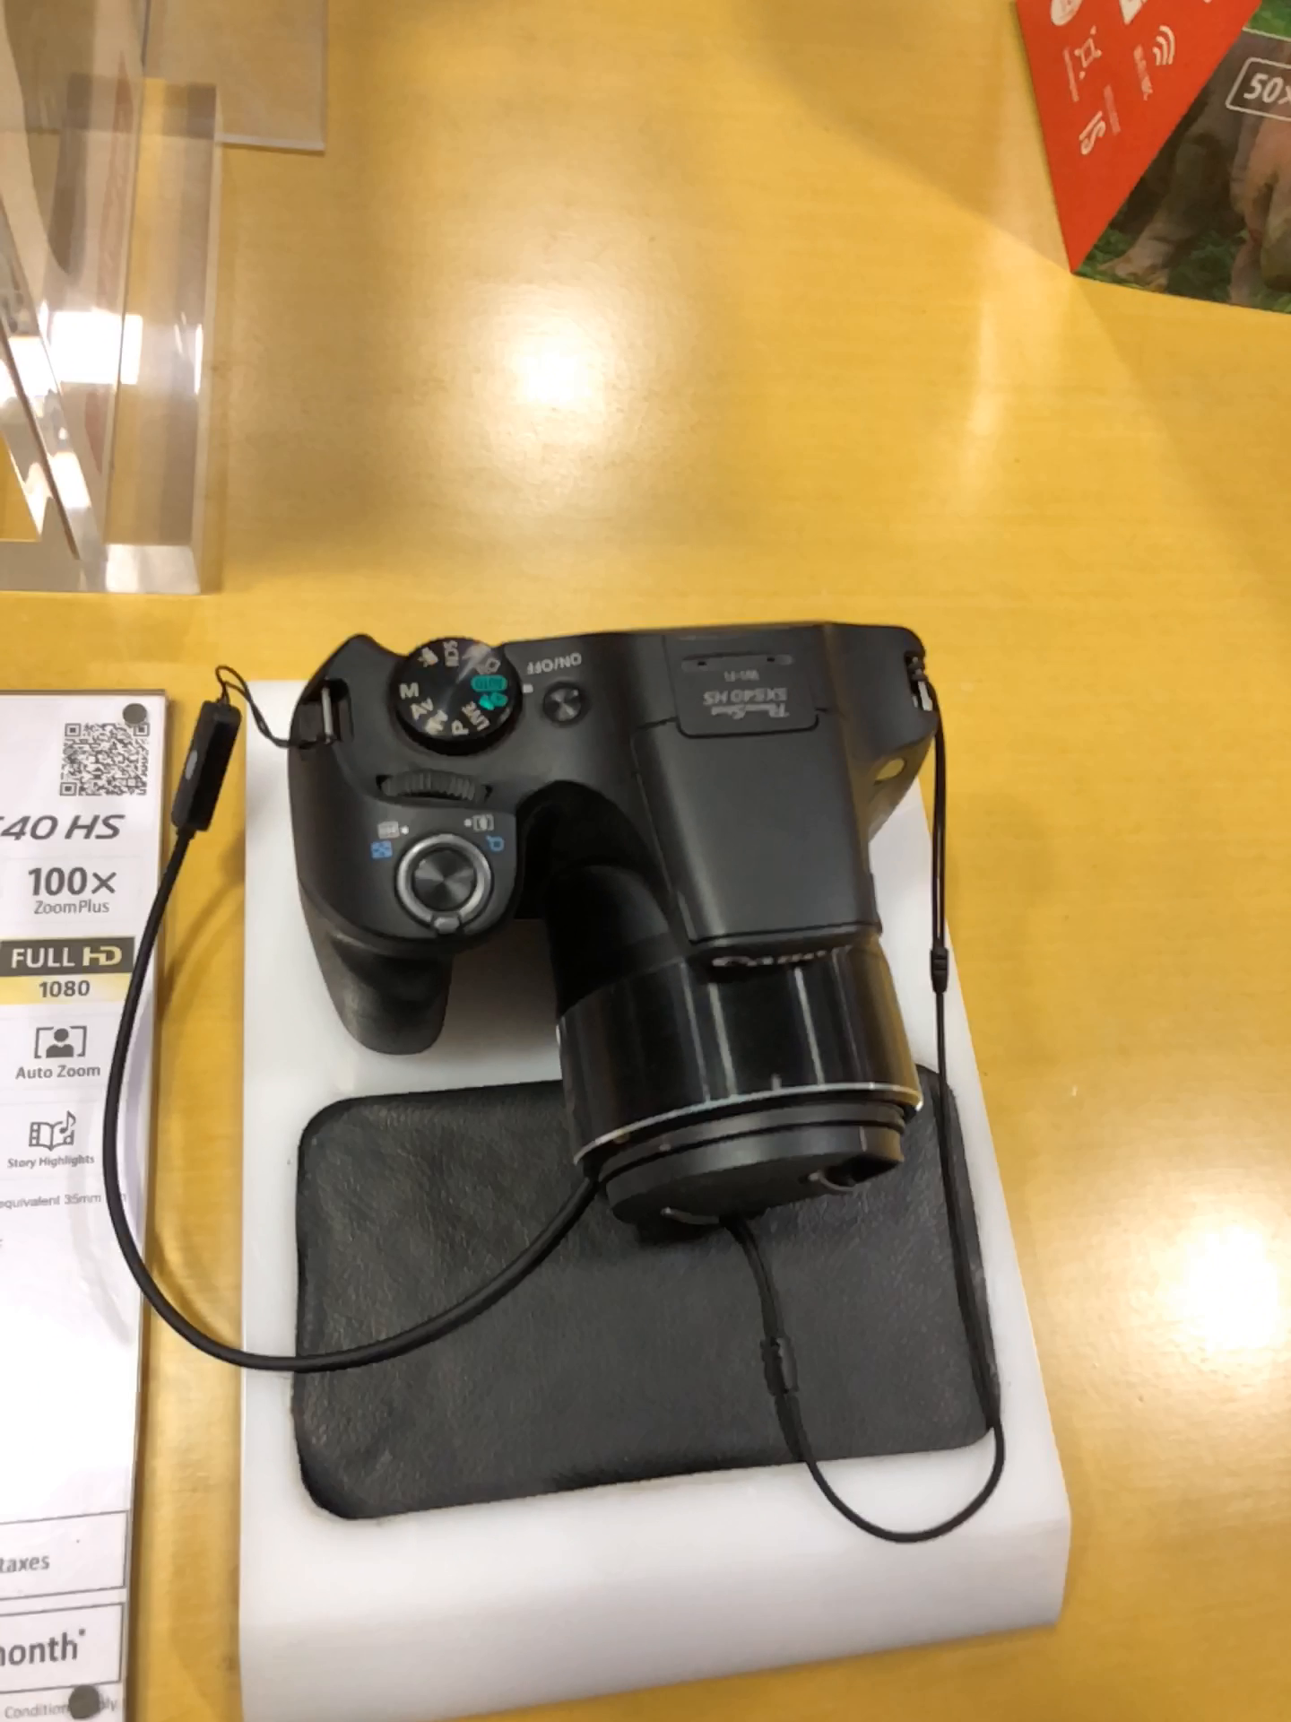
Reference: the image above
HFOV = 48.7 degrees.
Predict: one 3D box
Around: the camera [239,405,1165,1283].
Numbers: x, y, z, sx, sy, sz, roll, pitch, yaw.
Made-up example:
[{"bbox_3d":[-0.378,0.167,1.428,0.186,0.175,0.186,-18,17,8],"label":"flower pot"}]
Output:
[{"bbox_3d":[-0.002,-0.003,0.269,0.130,0.090,0.130,-5,67,-14],"label":"camera"}]
